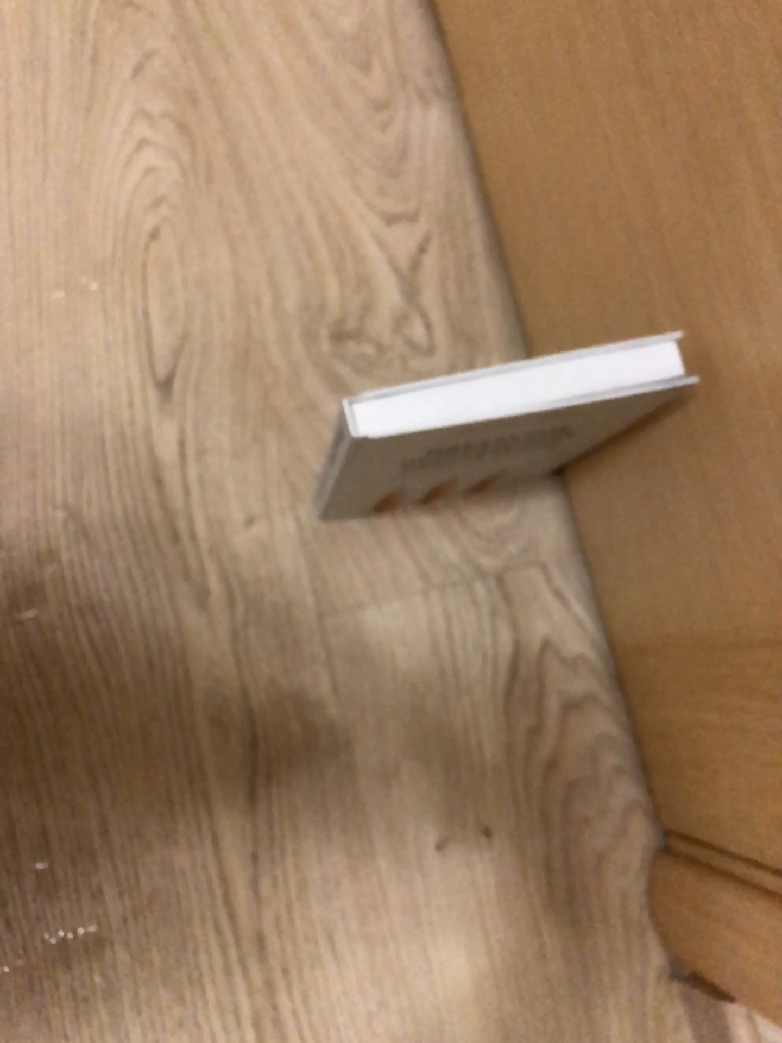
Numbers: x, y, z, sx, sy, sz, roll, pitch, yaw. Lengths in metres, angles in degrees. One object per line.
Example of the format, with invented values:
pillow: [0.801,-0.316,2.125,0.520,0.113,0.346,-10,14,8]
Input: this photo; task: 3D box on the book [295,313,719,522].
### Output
book: [0.038,-0.043,0.448,0.163,0.210,0.023,-12,84,-11]
